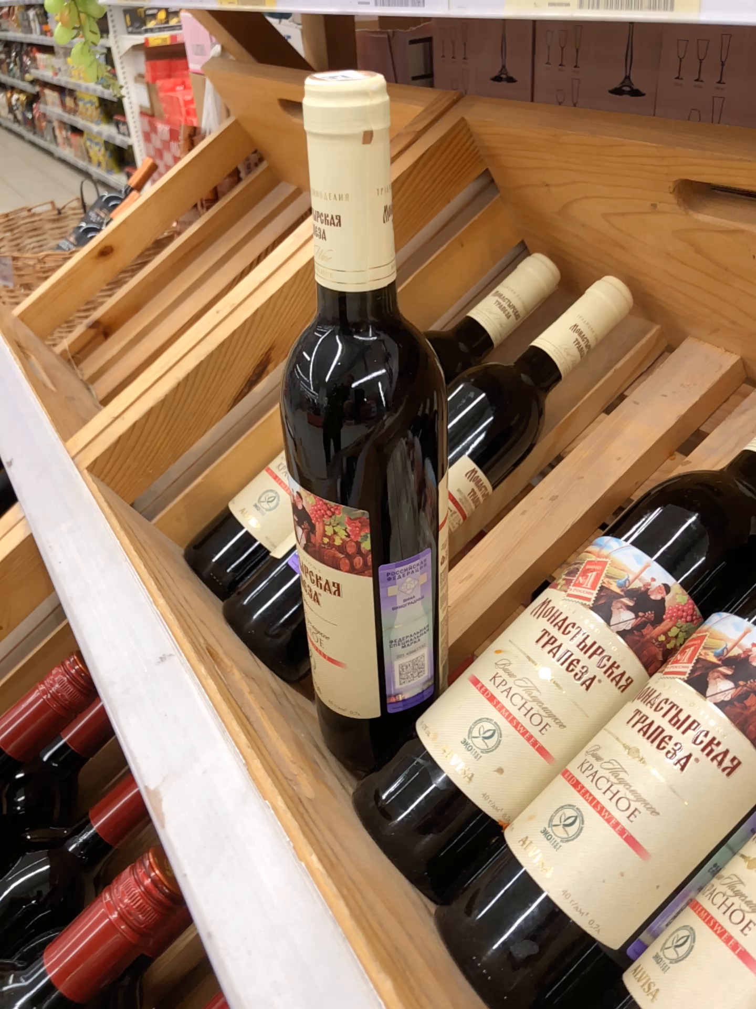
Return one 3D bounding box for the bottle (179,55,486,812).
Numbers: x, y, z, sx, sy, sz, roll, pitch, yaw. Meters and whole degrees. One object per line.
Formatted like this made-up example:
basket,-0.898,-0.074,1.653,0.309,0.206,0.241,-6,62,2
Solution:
bottle,-0.009,-0.013,0.359,0.080,0.308,0.080,-4,32,2
